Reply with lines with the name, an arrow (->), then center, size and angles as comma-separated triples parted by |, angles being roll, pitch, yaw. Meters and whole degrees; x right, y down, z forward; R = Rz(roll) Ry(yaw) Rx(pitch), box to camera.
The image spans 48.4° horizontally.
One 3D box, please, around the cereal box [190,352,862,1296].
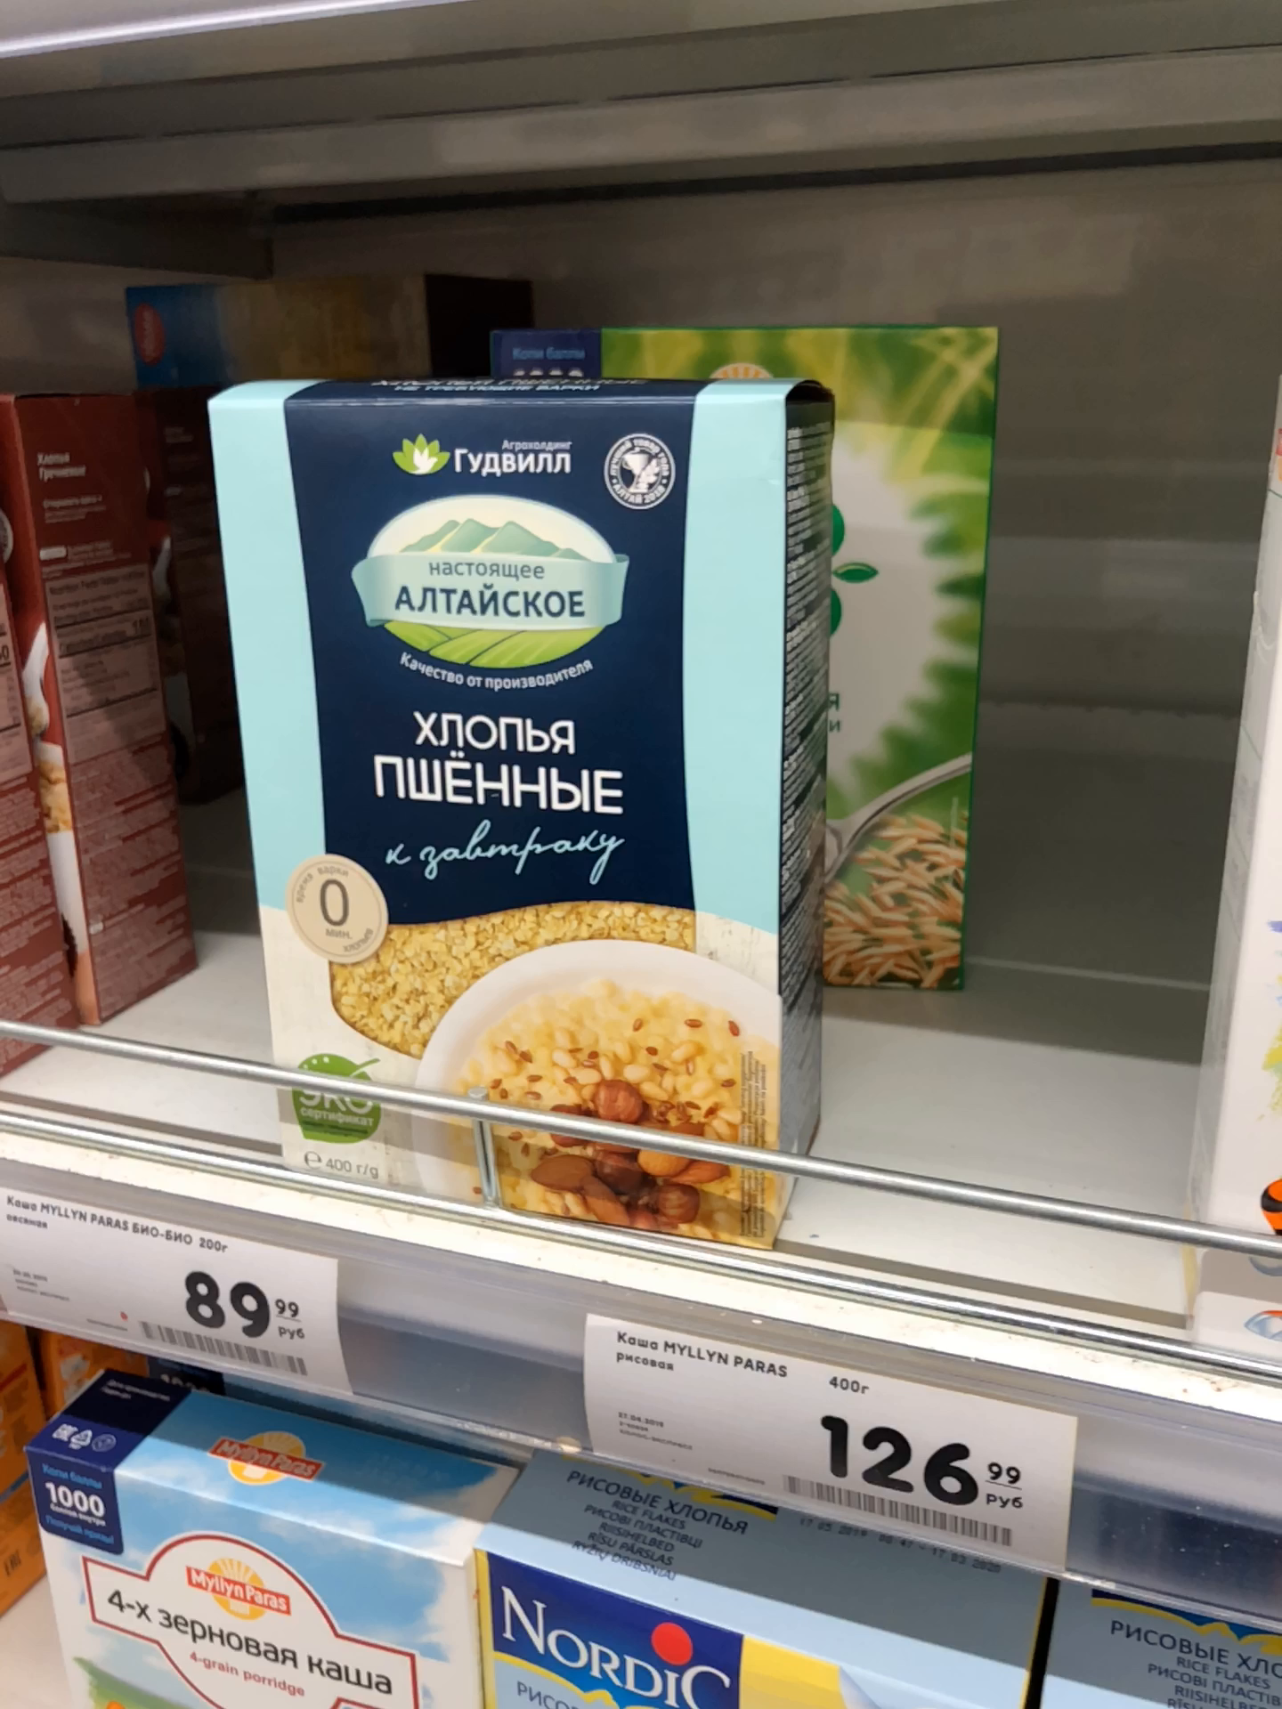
cereal box -> -0.020, -0.010, 0.335 | 0.130, 0.199, 0.060 | 4, 19, 17
